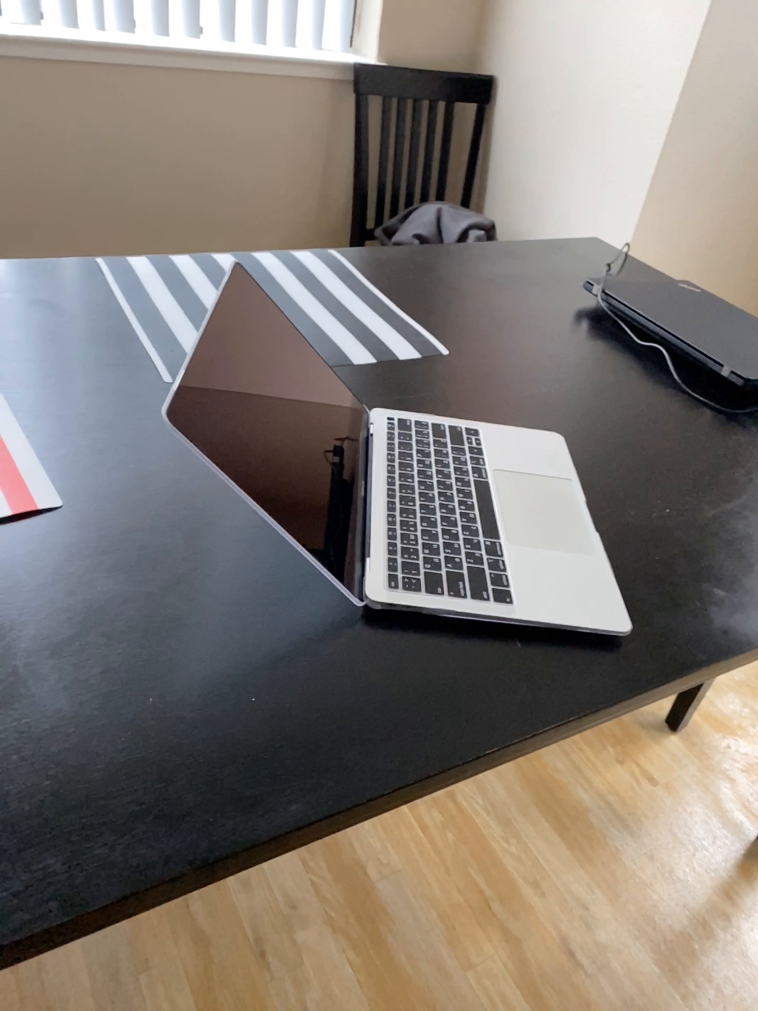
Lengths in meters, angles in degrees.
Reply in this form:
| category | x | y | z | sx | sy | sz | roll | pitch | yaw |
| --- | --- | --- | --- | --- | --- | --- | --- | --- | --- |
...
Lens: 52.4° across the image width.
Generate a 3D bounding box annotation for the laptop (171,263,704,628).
| category | x | y | z | sx | sy | sz | roll | pitch | yaw |
| --- | --- | --- | --- | --- | --- | --- | --- | --- | --- |
| laptop | 0.035 | -0.067 | 0.674 | 0.361 | 0.139 | 0.298 | 6 | 36 | -5 |
